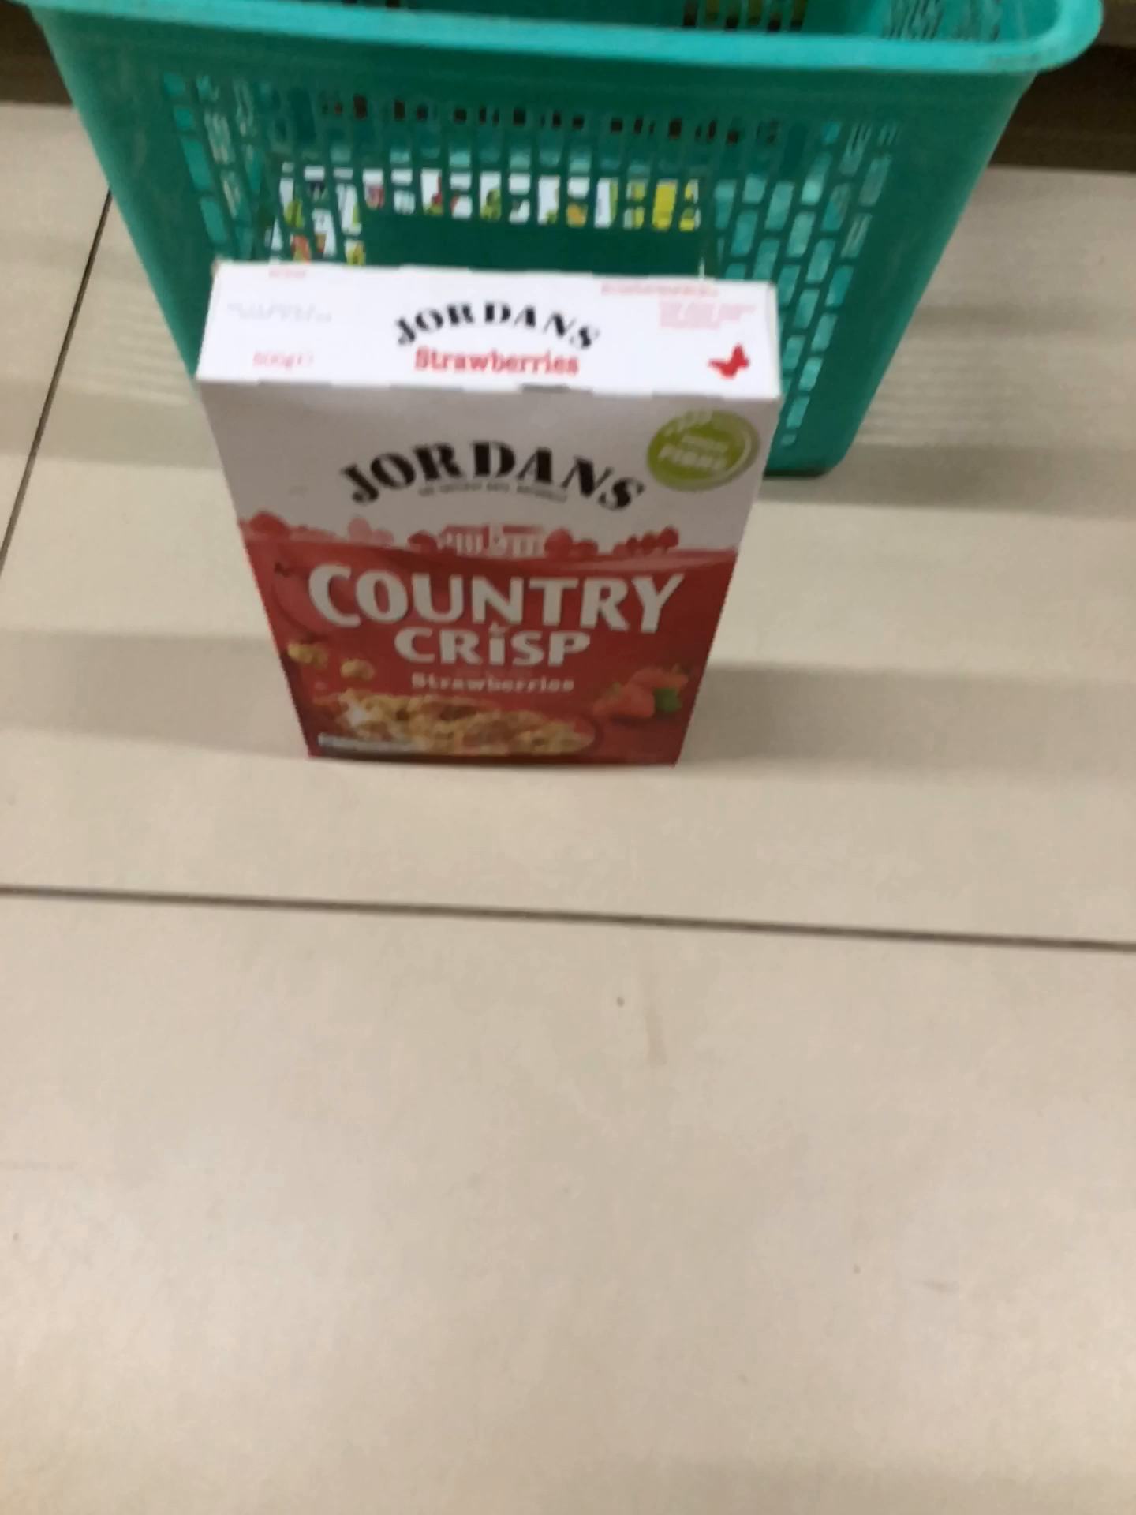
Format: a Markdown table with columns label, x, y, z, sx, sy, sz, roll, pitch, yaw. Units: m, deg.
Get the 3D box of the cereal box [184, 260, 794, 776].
| label | x | y | z | sx | sy | sz | roll | pitch | yaw |
| --- | --- | --- | --- | --- | --- | --- | --- | --- | --- |
| cereal box | -0.028 | -0.073 | 0.489 | 0.180 | 0.249 | 0.050 | 1 | 62 | -2 |
